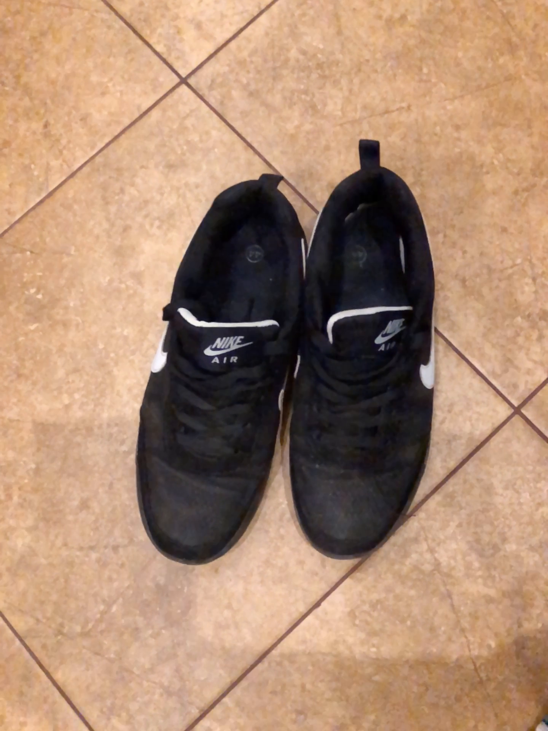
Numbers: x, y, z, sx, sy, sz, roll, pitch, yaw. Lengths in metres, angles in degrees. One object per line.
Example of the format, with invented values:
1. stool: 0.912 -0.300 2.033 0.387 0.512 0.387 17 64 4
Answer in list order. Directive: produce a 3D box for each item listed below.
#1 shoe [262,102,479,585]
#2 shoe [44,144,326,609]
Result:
1. shoe: 0.067 -0.015 0.436 0.120 0.120 0.300 4 80 4
2. shoe: -0.047 0.007 0.428 0.110 0.120 0.270 12 81 5
